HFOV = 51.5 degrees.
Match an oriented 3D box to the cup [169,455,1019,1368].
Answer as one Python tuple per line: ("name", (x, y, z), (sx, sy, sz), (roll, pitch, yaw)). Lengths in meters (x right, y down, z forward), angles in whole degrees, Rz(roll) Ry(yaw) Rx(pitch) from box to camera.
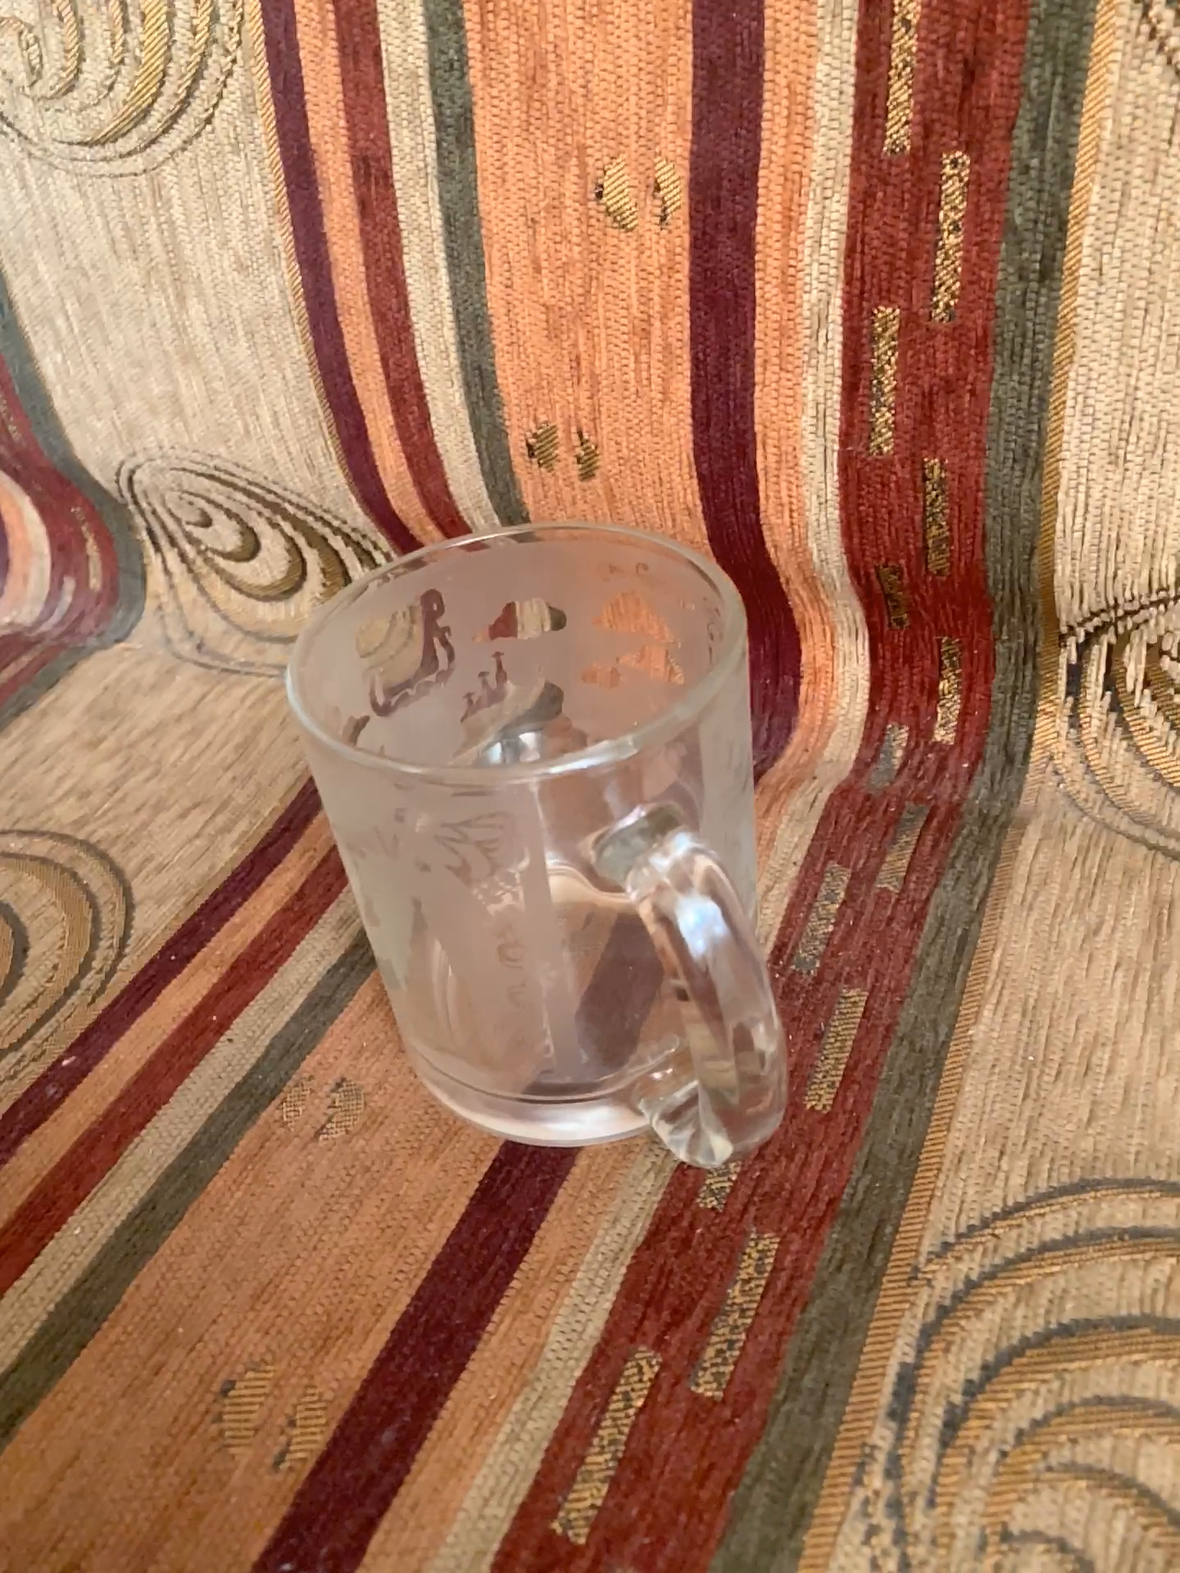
("cup", (-0.003, 0.011, 0.218), (0.084, 0.086, 0.115), (-26, 41, -23))
